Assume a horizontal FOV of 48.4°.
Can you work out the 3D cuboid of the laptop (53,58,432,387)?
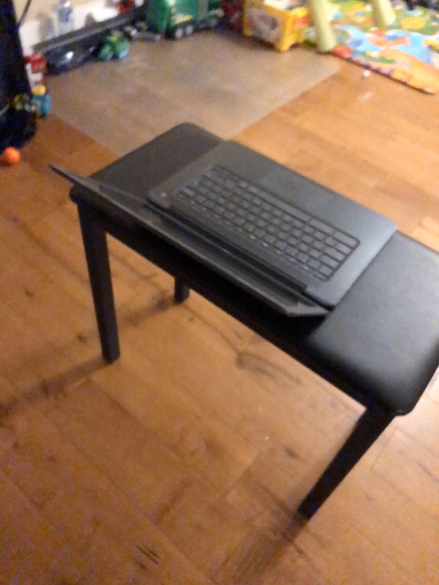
[{"bbox_3d":[0.040,-0.126,0.657,0.317,0.144,0.363,32,56,19],"label":"laptop"}]
